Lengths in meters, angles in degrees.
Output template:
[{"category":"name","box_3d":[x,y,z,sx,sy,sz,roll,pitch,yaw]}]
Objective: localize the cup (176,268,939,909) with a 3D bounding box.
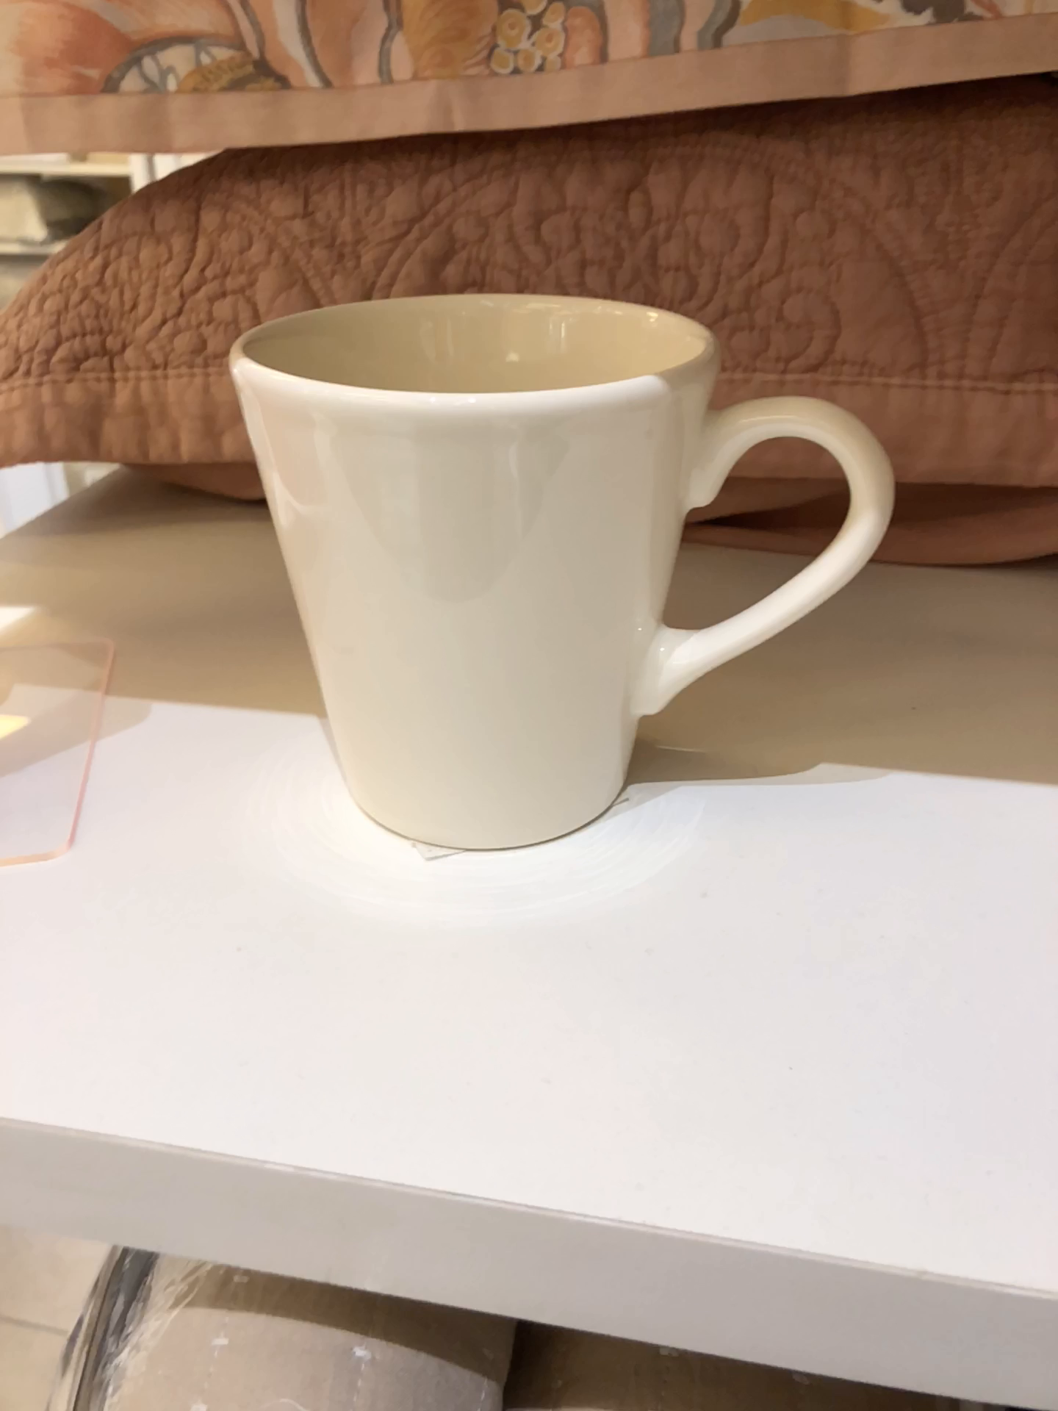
[{"category":"cup","box_3d":[0.005,-0.026,0.229,0.110,0.099,0.081,0,28,1]}]
